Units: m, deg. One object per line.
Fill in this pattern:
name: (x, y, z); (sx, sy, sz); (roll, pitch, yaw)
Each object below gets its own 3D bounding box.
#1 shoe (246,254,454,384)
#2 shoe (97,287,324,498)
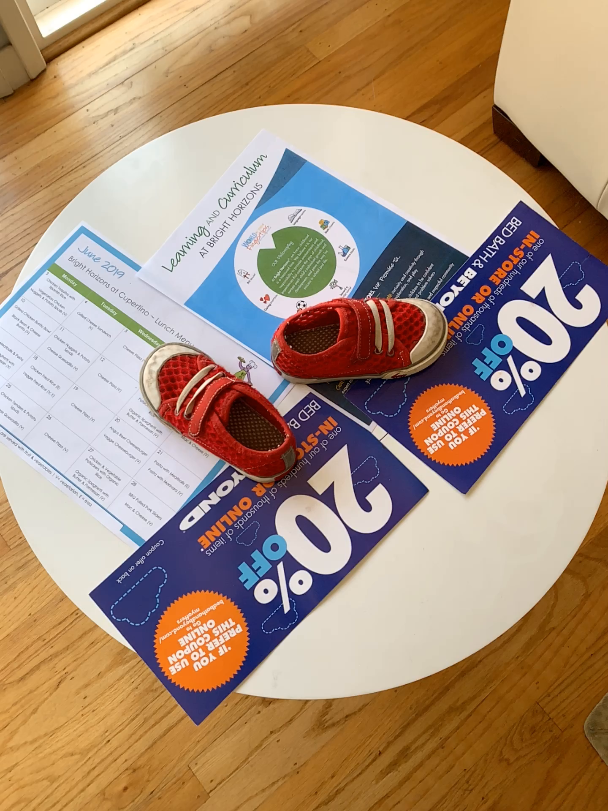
shoe: (0.041, -0.082, 0.605); (0.180, 0.070, 0.080); (-8, 74, -3)
shoe: (-0.076, -0.009, 0.532); (0.170, 0.070, 0.080); (36, 77, 9)
